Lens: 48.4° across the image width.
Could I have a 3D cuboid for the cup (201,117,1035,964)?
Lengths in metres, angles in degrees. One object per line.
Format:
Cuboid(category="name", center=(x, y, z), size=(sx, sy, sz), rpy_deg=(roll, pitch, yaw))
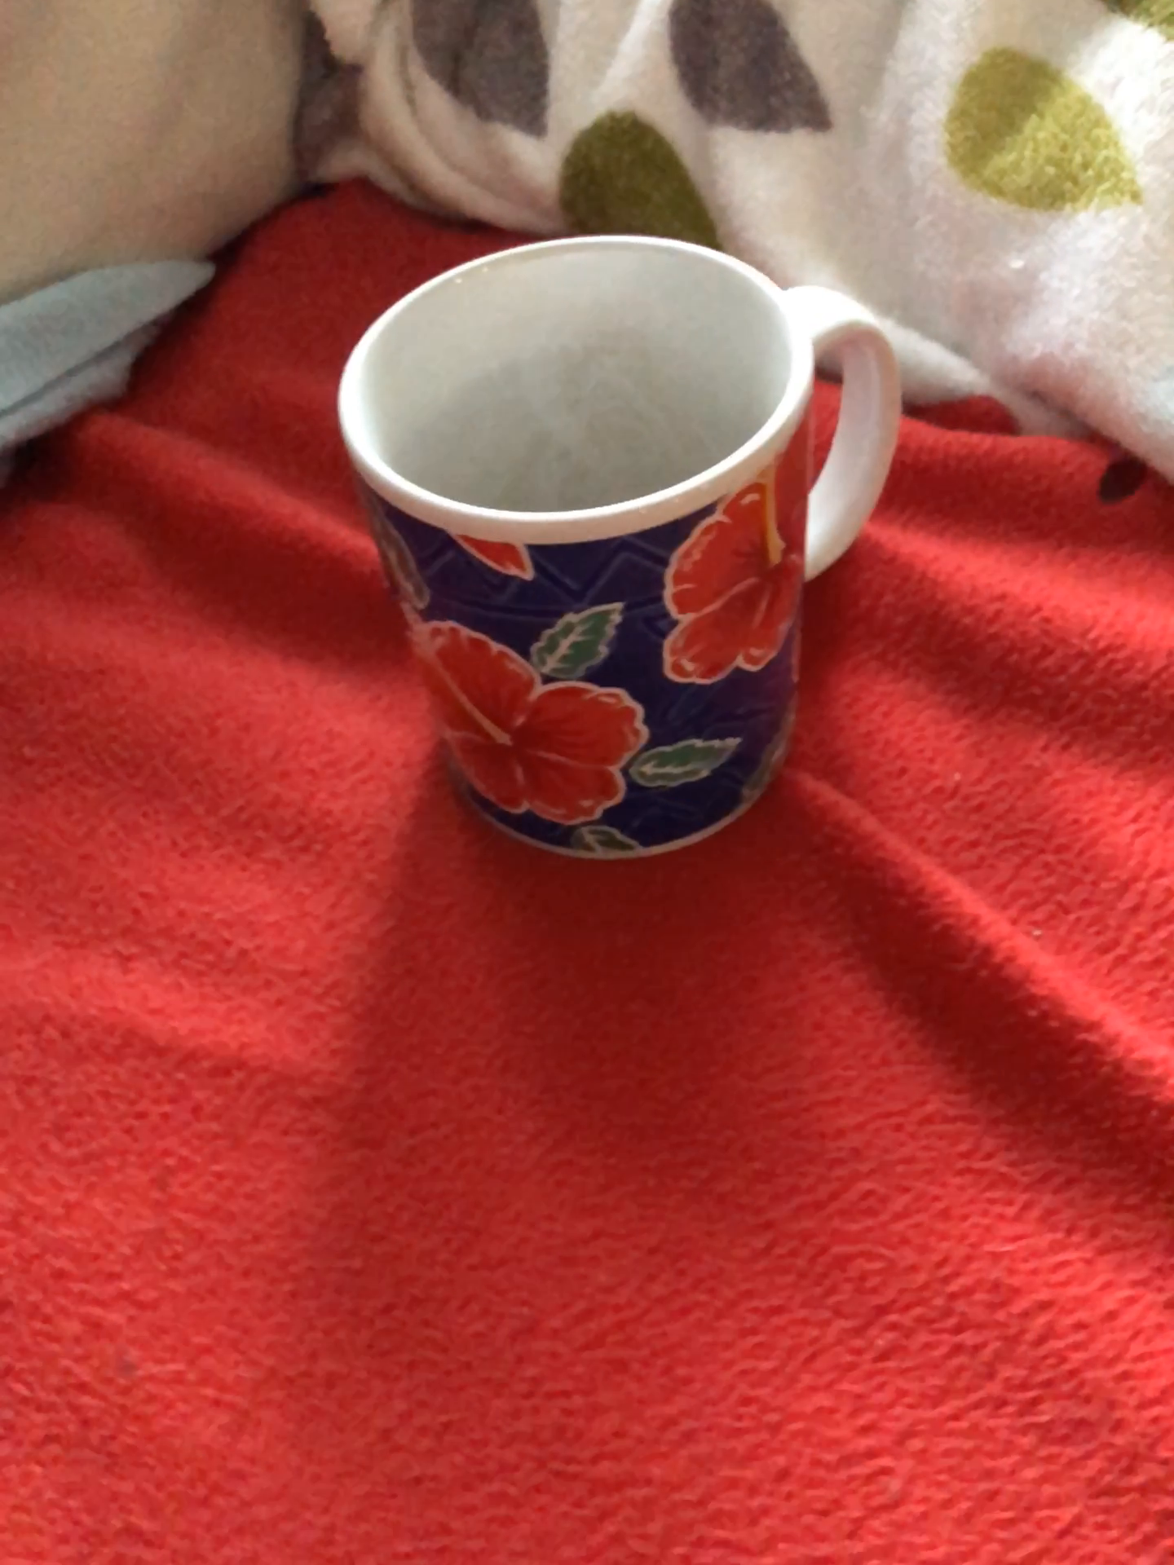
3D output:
Cuboid(category="cup", center=(0.010, -0.053, 0.269), size=(0.120, 0.100, 0.090), rpy_deg=(-39, 56, -25))
